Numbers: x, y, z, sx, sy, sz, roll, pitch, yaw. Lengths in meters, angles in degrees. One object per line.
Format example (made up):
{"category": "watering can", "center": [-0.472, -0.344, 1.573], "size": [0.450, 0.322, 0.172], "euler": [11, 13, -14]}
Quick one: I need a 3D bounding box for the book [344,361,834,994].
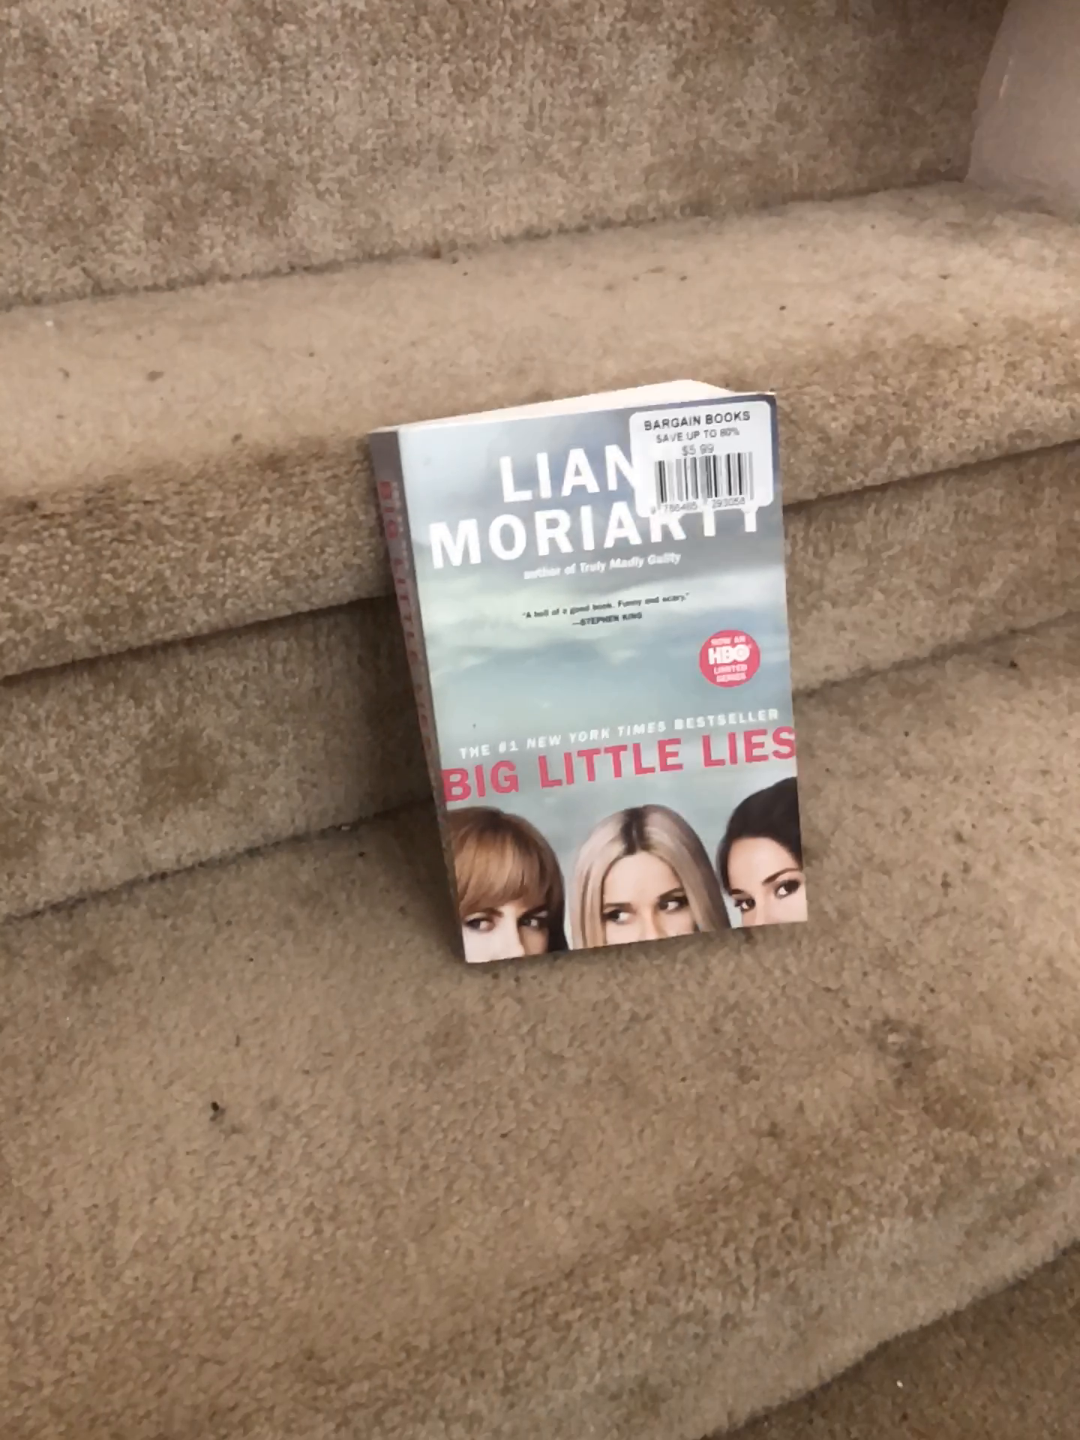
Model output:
{"category": "book", "center": [0.022, -0.018, 0.448], "size": [0.160, 0.209, 0.050], "euler": [-8, 15, -10]}
